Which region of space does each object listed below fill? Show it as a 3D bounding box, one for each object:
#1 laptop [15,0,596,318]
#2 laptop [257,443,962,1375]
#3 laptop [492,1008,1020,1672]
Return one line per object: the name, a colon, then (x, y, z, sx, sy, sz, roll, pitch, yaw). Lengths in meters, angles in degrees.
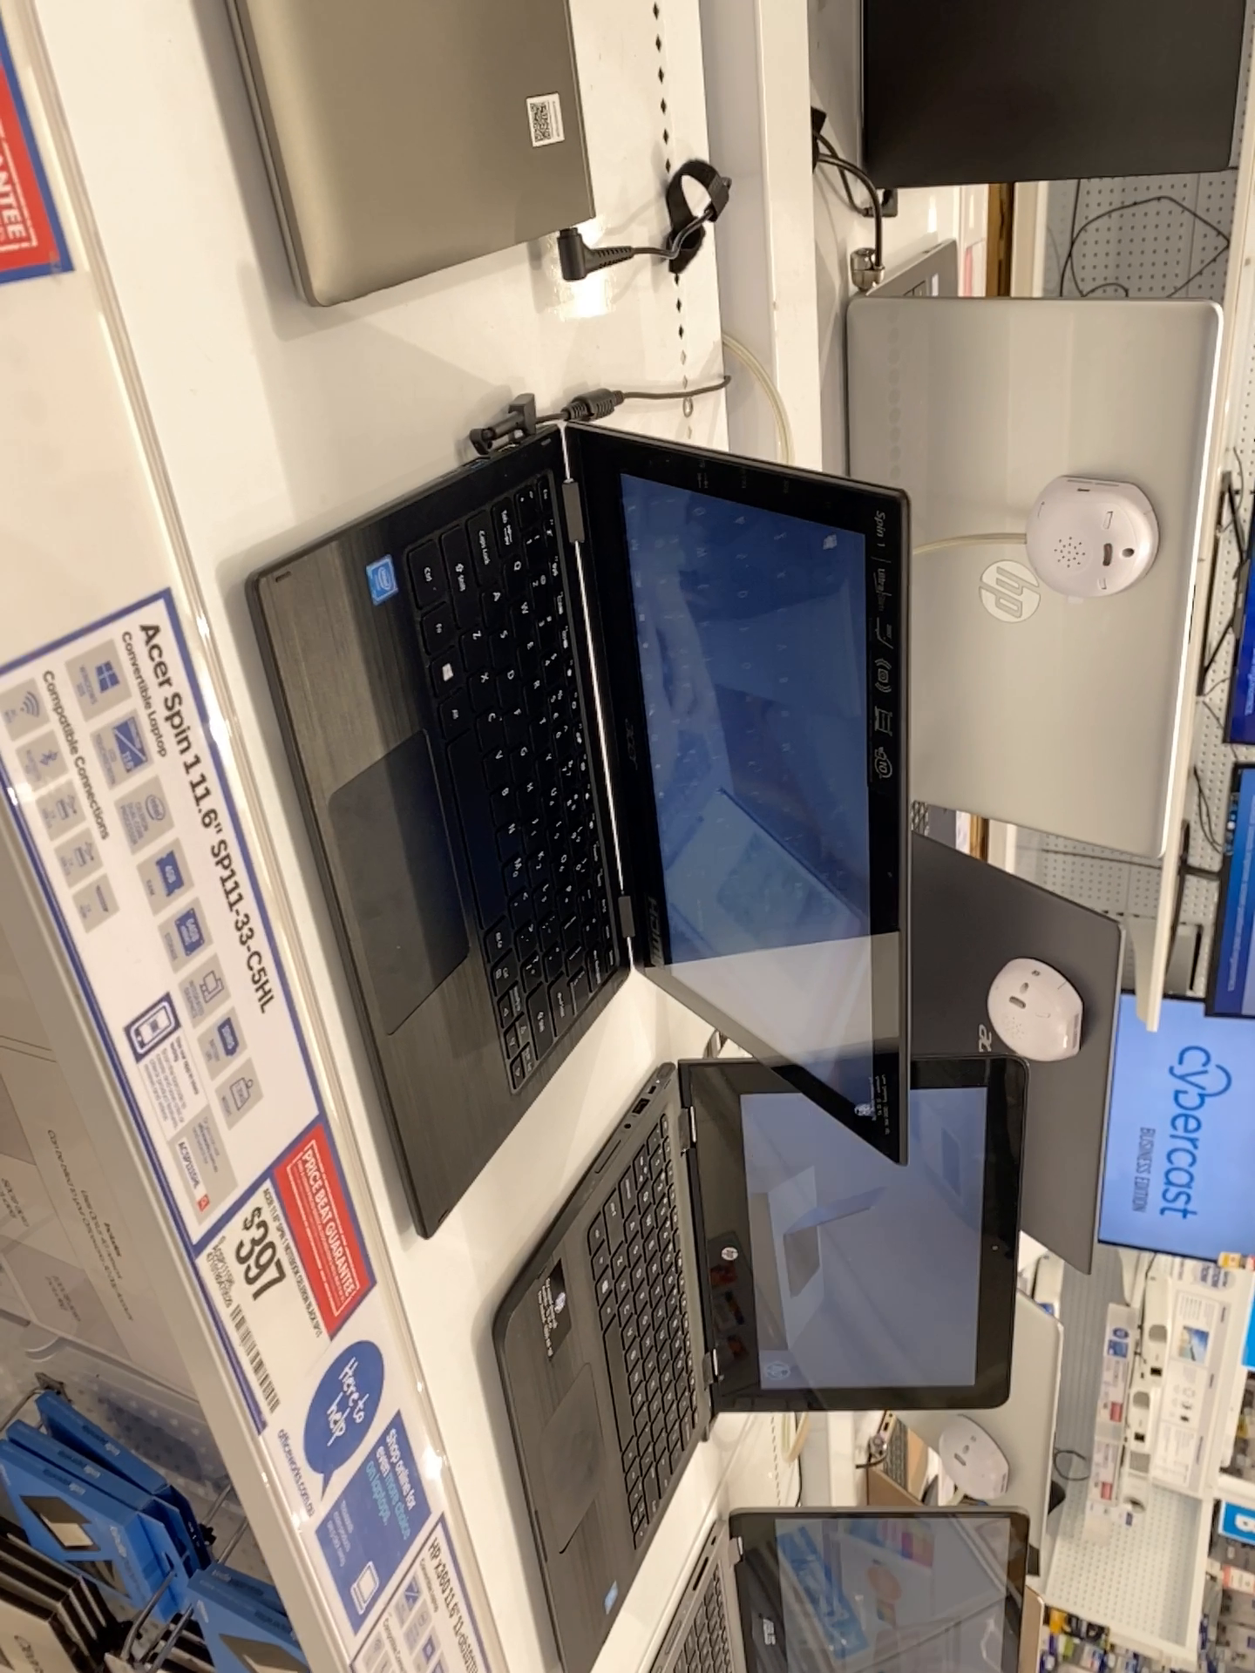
laptop: (-0.075, -0.344, 0.421, 0.195, 0.001, 0.285, -47, 136, -49)
laptop: (0.019, 0.013, 0.514, 0.197, 0.175, 0.291, -46, 137, -50)
laptop: (0.106, 0.328, 0.782, 0.297, 0.190, 0.324, -47, 138, -50)
